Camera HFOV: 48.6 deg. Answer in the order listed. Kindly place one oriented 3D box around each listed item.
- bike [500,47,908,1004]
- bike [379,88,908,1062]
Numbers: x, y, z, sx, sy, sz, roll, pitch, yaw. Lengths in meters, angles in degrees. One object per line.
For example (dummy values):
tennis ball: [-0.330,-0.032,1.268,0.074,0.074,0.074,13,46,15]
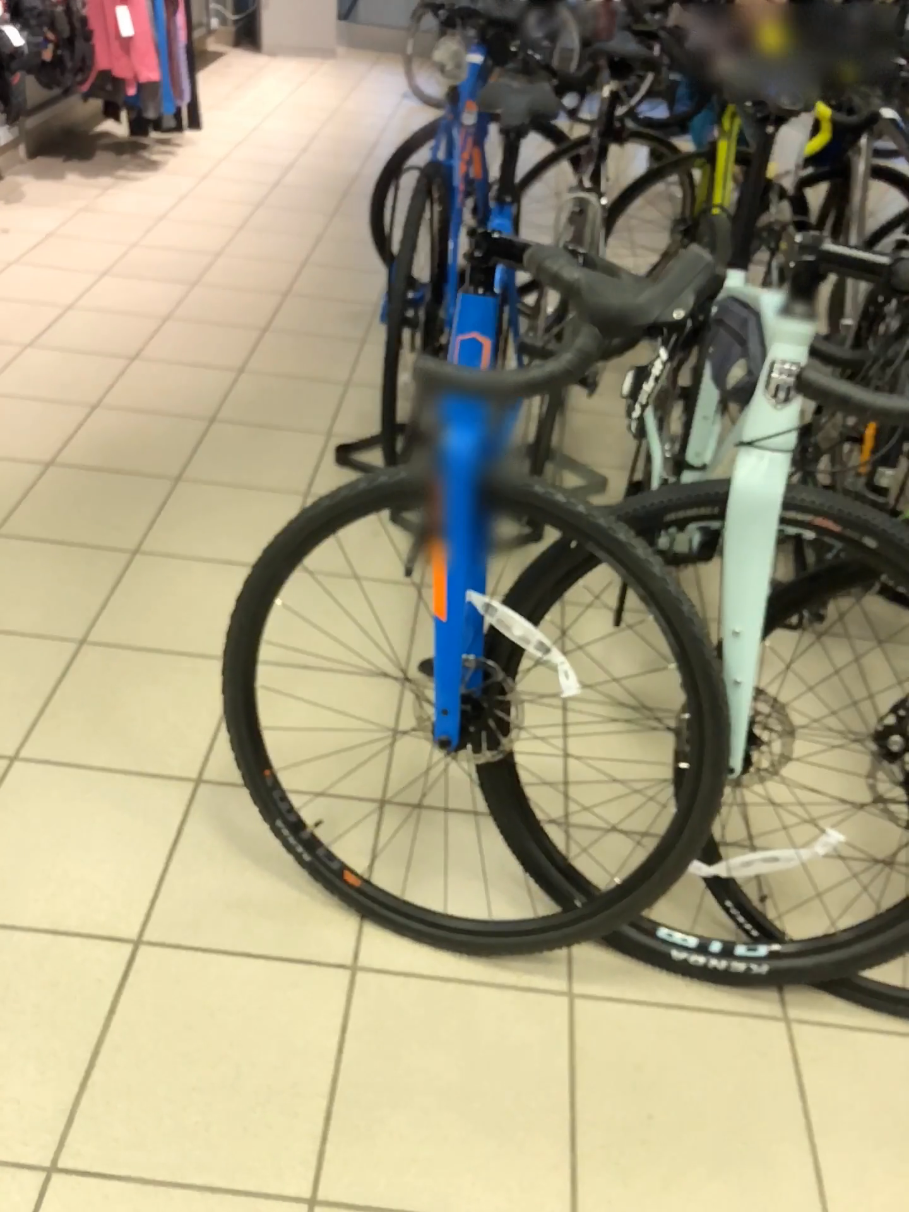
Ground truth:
bike: [0.588,-0.276,1.714,0.616,0.870,1.429,-1,39,-9]
bike: [0.222,-0.195,1.789,0.524,0.805,1.477,-1,42,-9]
